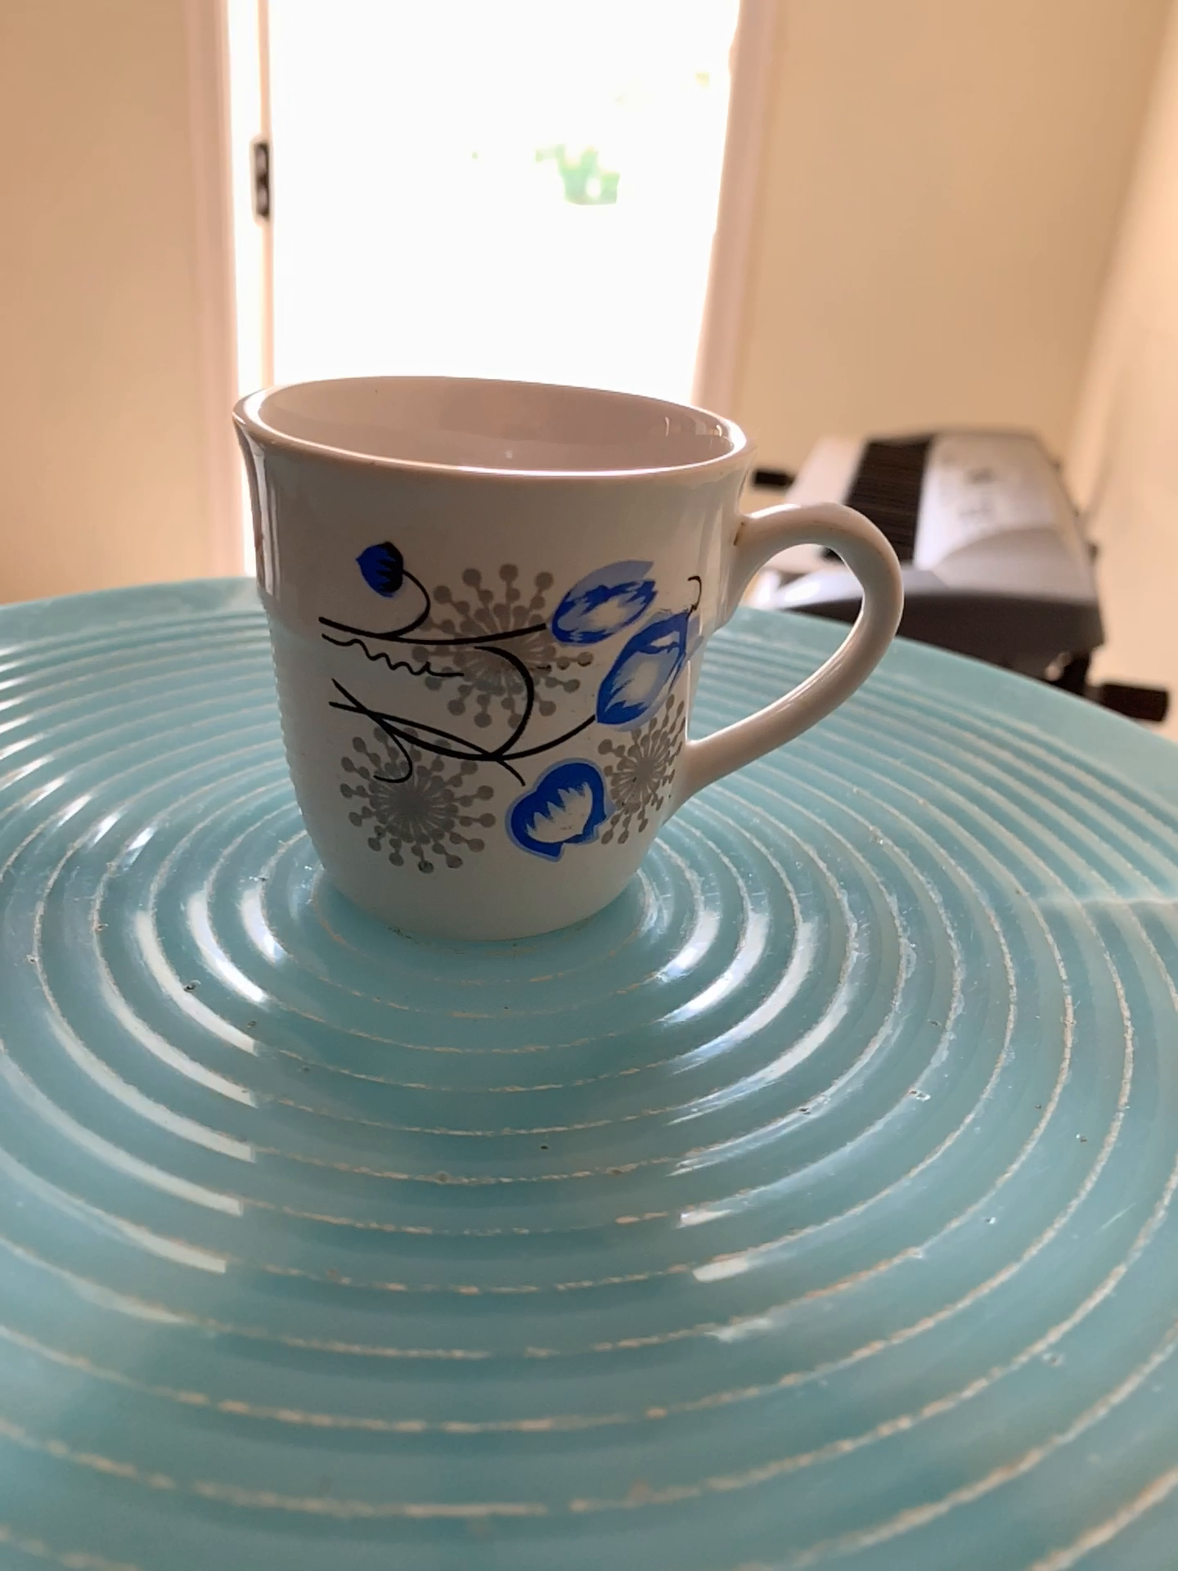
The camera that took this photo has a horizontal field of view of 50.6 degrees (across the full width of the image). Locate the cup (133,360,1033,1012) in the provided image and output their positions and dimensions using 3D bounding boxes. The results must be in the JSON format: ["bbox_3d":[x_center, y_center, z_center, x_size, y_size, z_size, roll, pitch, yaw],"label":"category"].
[{"bbox_3d":[-0.006,-0.018,0.165,0.090,0.060,0.071,-1,25,-12],"label":"cup"}]
